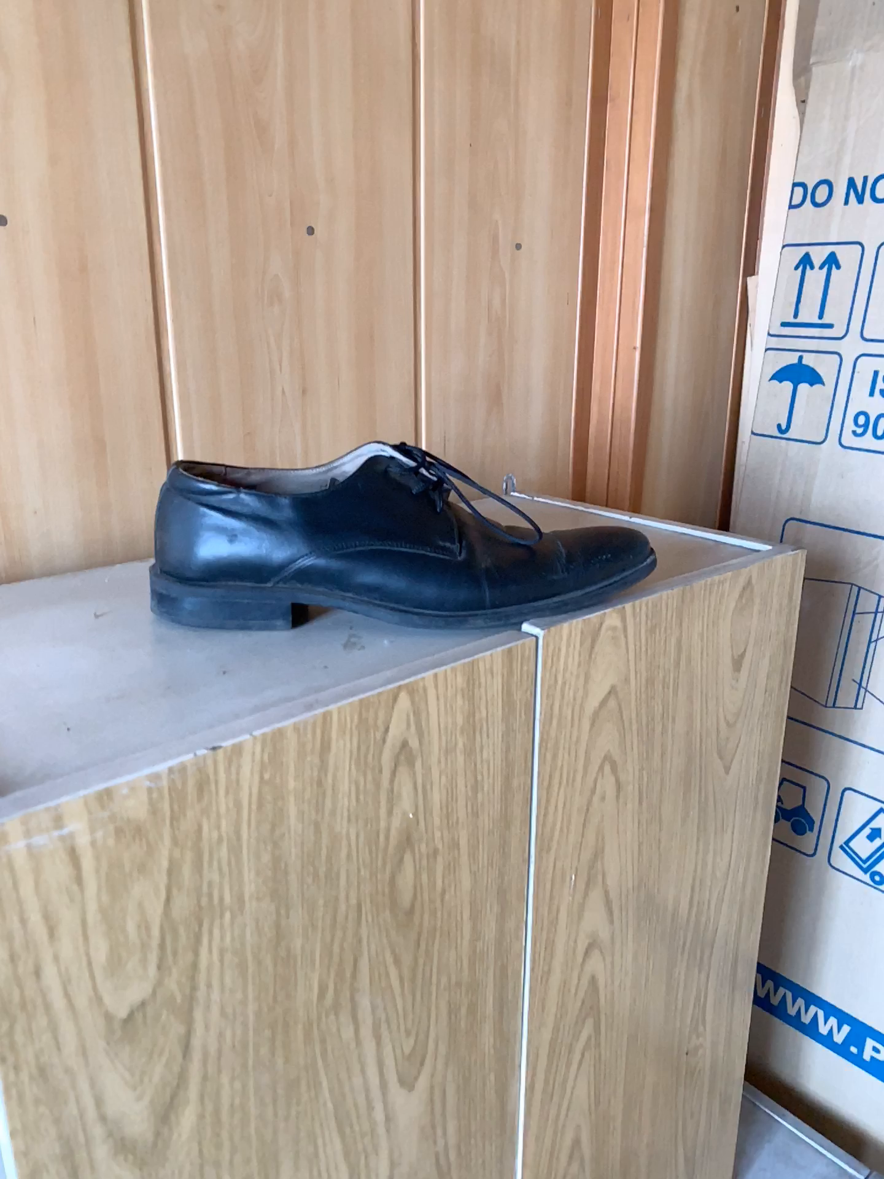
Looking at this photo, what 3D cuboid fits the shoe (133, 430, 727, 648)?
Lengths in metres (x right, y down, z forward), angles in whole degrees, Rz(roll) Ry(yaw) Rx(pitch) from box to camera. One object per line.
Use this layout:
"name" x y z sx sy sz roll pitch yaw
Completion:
"shoe" -0.009 -0.039 0.533 0.300 0.089 0.141 -2 17 -7
